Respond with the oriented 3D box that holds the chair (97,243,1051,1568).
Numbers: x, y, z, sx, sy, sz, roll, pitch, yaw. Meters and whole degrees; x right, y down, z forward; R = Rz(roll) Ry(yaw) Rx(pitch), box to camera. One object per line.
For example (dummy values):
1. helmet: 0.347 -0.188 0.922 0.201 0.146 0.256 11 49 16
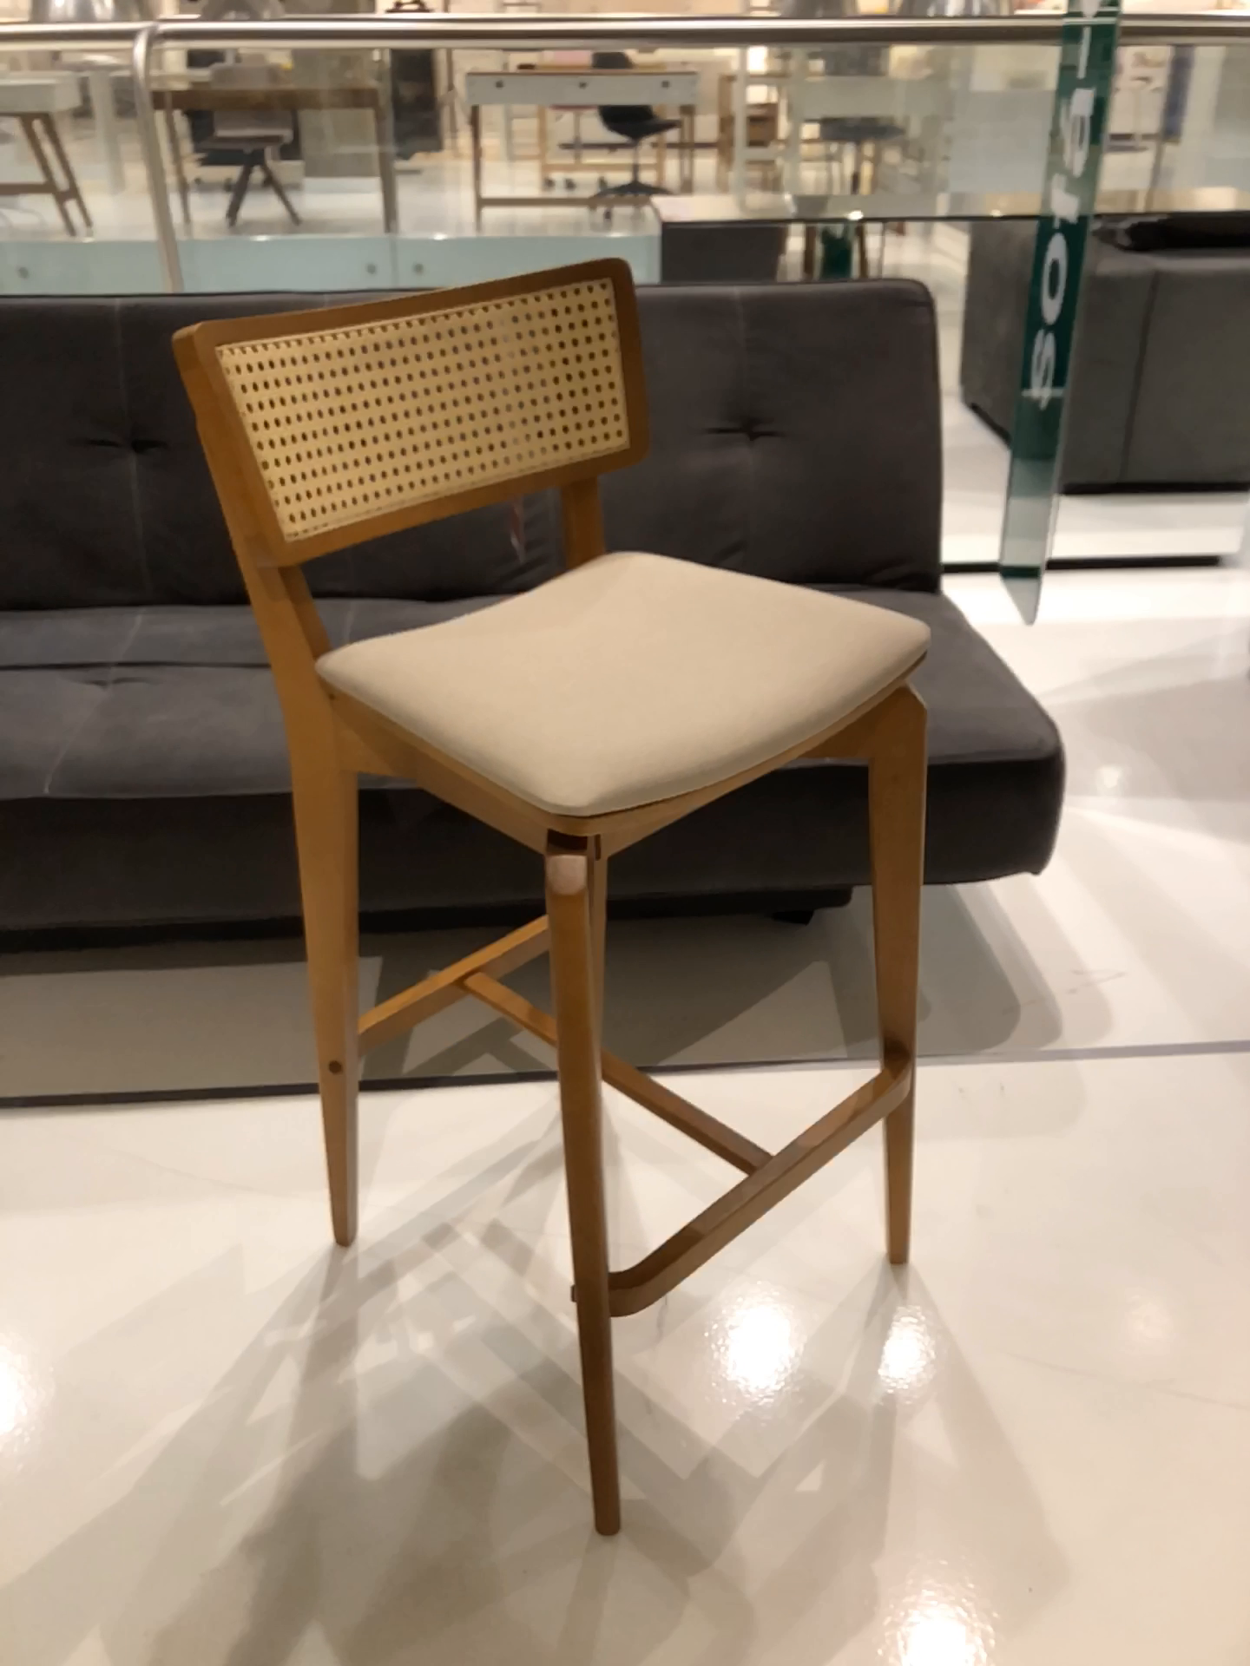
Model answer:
1. chair: -0.039 0.033 1.248 0.472 0.963 0.522 -27 39 -38
